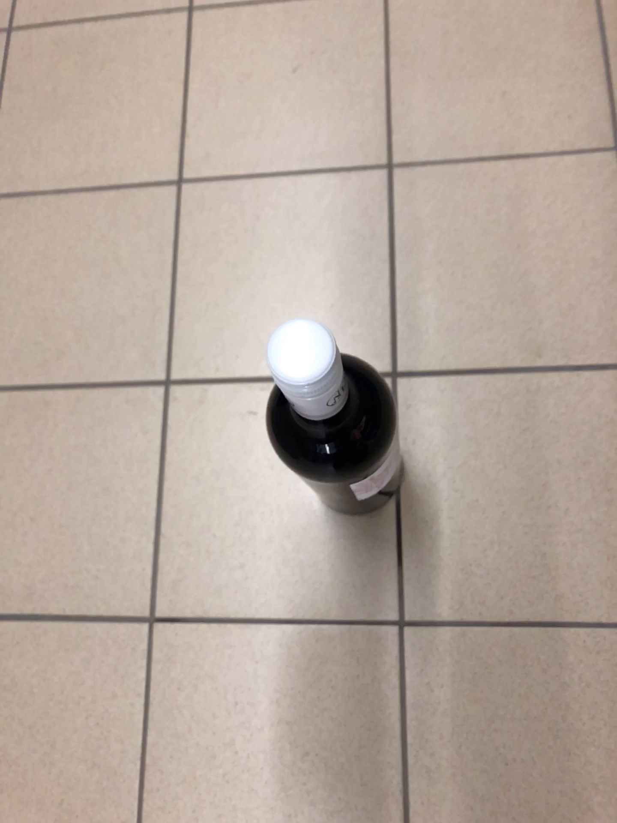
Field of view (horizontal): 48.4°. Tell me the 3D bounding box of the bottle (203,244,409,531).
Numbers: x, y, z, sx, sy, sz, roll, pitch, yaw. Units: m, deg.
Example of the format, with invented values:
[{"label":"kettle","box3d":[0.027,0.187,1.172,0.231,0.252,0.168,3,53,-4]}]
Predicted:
[{"label":"bottle","box3d":[0.017,0.013,0.418,0.080,0.290,0.090,-4,75,8]}]
